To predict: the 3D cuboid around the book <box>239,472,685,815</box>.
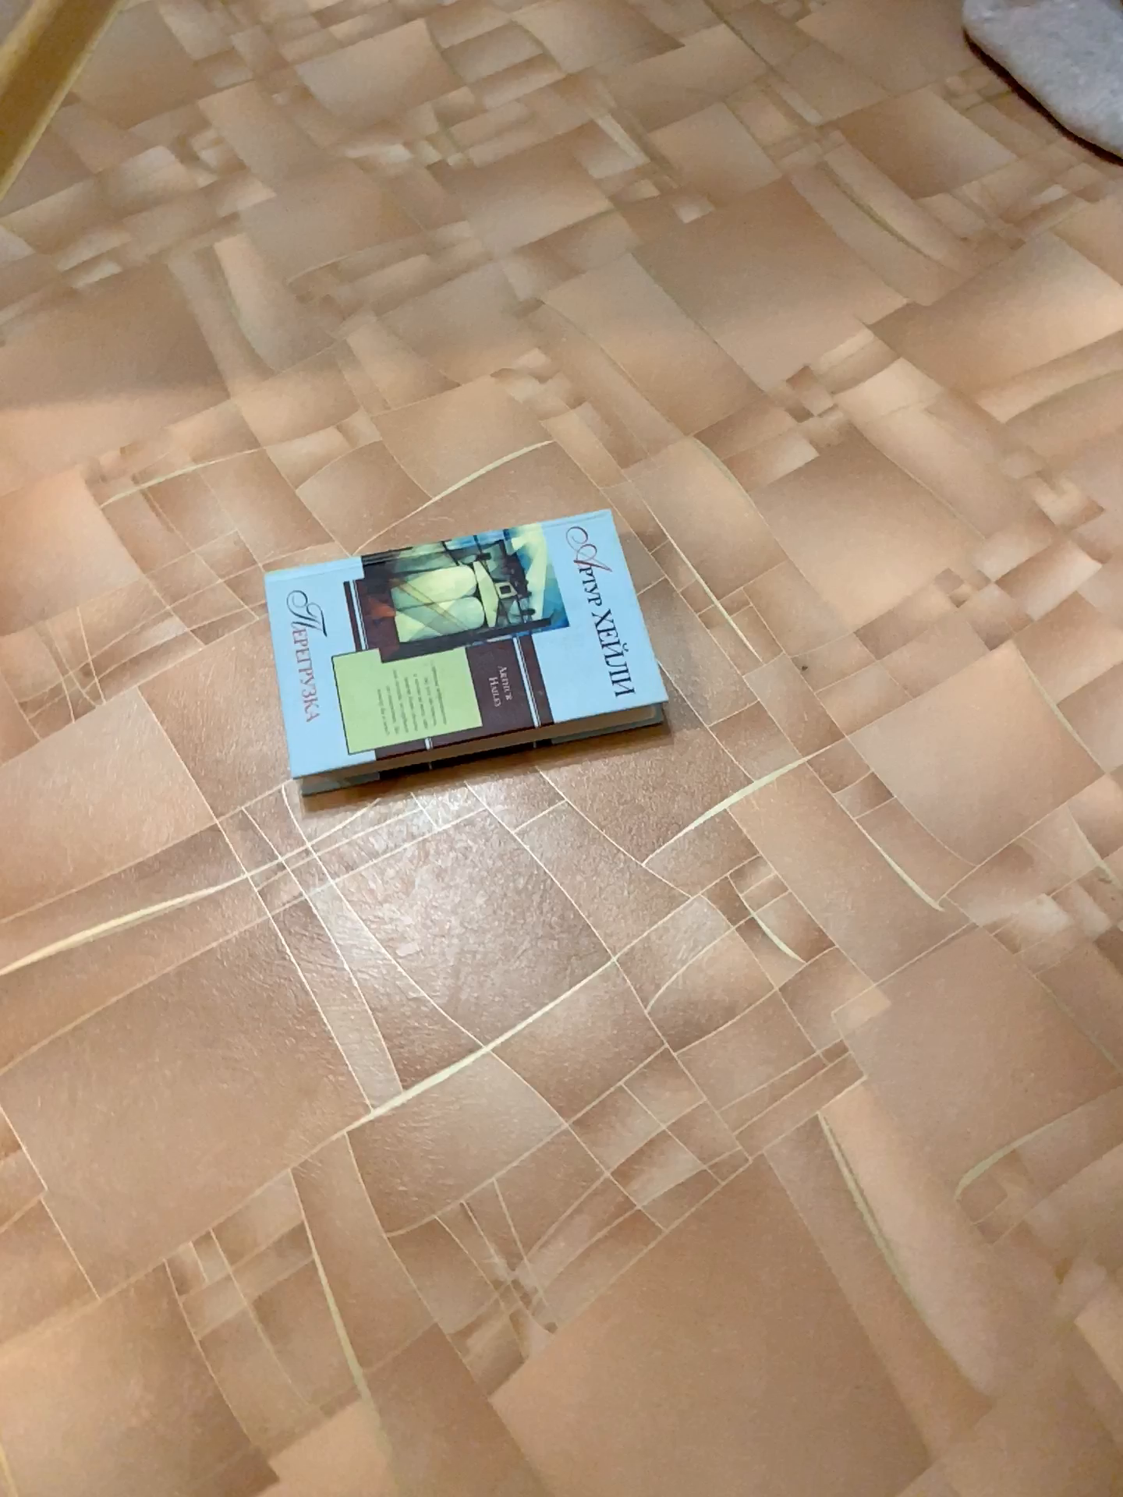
[{"bbox_3d":[-0.057,-0.061,0.621,0.210,0.040,0.151,-12,63,-6],"label":"book"}]
